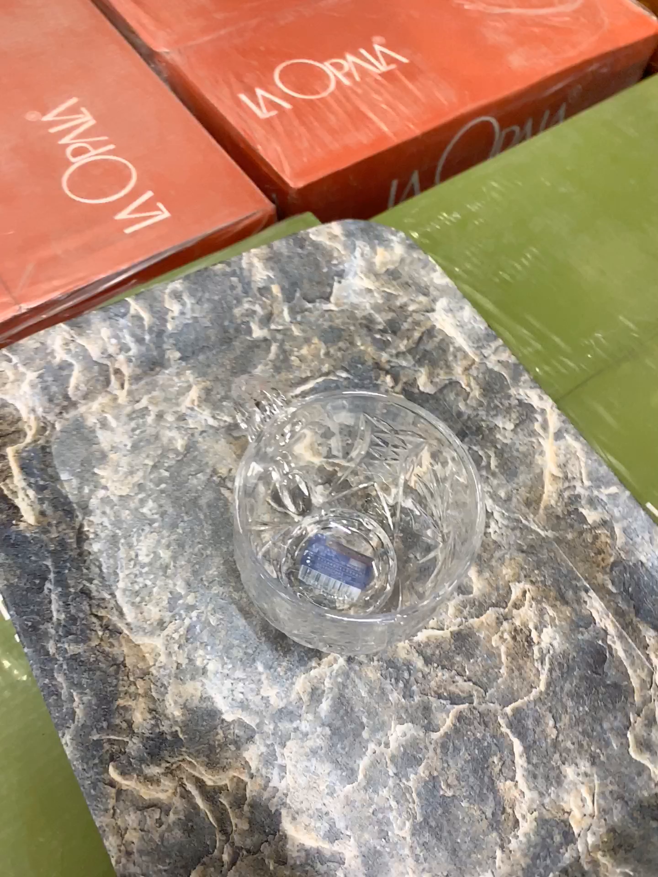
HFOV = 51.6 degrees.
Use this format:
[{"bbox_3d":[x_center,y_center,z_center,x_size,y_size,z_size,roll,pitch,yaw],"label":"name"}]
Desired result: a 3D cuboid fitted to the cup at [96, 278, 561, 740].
[{"bbox_3d":[-0.003,0.022,0.215,0.080,0.070,0.100,-37,71,-23],"label":"cup"}]
